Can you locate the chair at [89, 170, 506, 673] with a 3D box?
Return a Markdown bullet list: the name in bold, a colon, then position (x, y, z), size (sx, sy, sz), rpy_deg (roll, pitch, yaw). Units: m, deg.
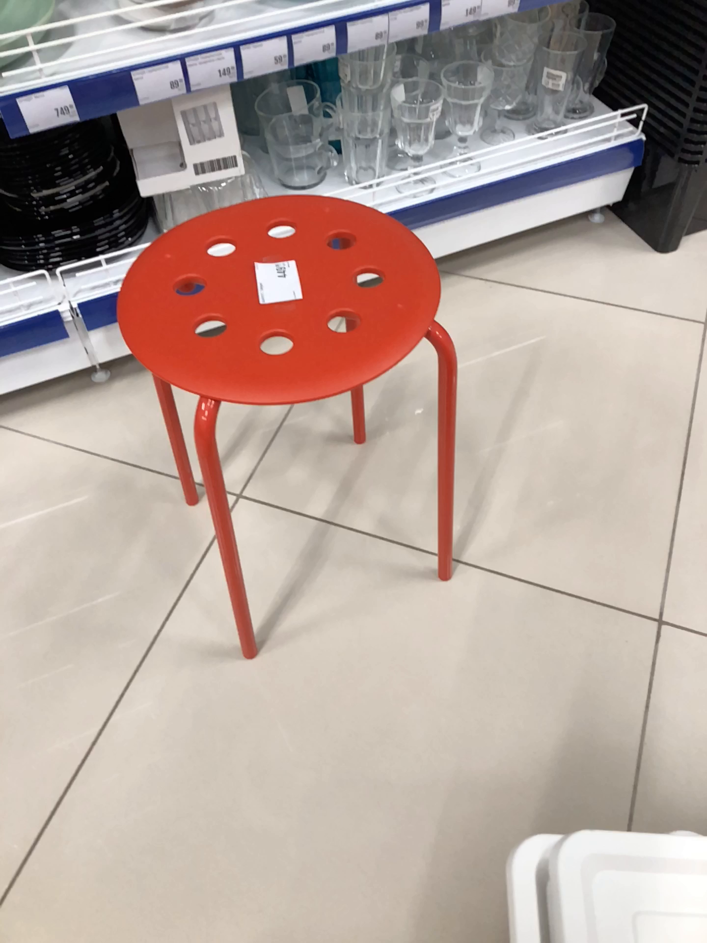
- **chair**: position (-0.062, -0.050, 0.902), size (0.313, 0.405, 0.322), rpy_deg (-19, 52, -12)
